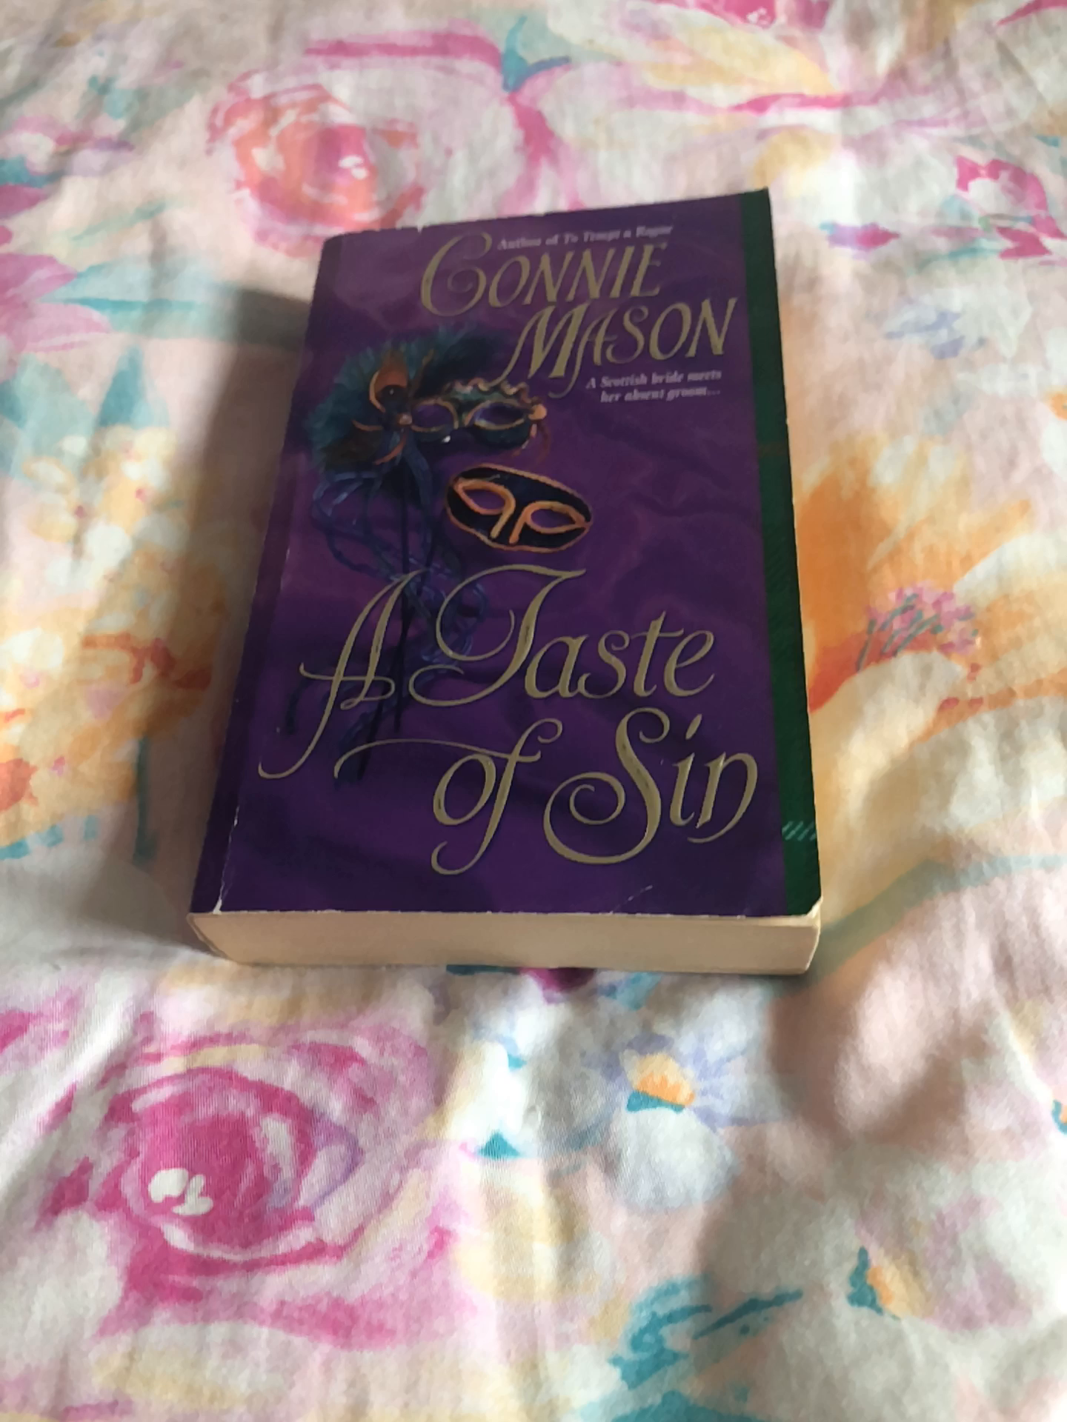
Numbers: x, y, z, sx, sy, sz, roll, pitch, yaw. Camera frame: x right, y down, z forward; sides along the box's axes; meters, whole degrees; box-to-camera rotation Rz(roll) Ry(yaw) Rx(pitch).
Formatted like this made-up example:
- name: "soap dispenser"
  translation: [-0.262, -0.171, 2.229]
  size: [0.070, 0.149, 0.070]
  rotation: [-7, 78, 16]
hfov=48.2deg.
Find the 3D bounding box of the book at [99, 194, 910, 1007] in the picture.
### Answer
- name: "book"
  translation: [-0.003, -0.035, 0.244]
  size: [0.120, 0.040, 0.181]
  rotation: [1, 55, 1]
